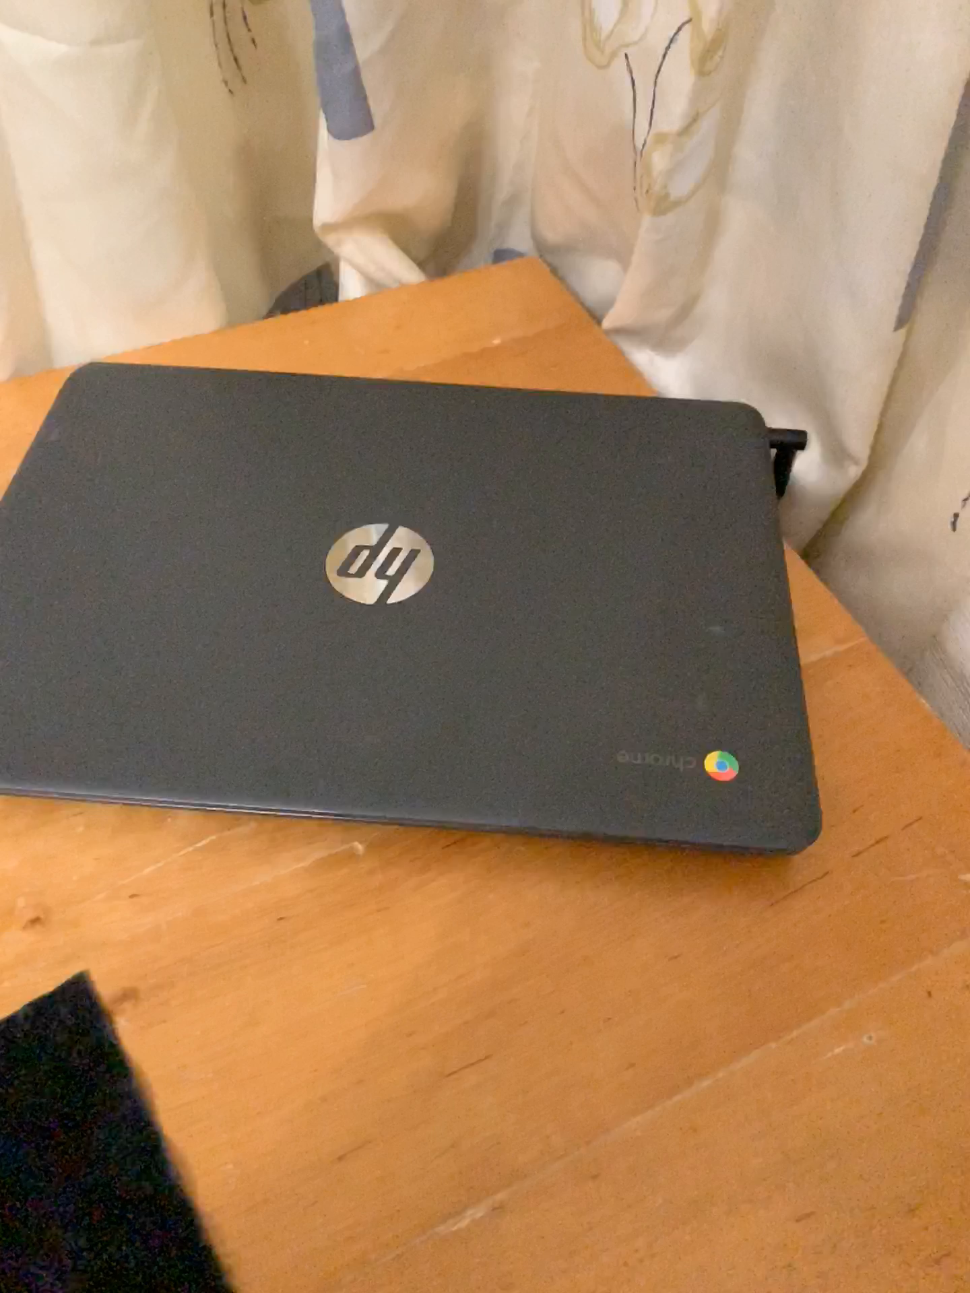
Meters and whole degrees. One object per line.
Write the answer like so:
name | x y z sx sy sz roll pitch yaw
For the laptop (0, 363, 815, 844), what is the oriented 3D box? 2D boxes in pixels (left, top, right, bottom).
laptop | -0.035 -0.029 0.329 0.261 0.004 0.186 4 51 3
